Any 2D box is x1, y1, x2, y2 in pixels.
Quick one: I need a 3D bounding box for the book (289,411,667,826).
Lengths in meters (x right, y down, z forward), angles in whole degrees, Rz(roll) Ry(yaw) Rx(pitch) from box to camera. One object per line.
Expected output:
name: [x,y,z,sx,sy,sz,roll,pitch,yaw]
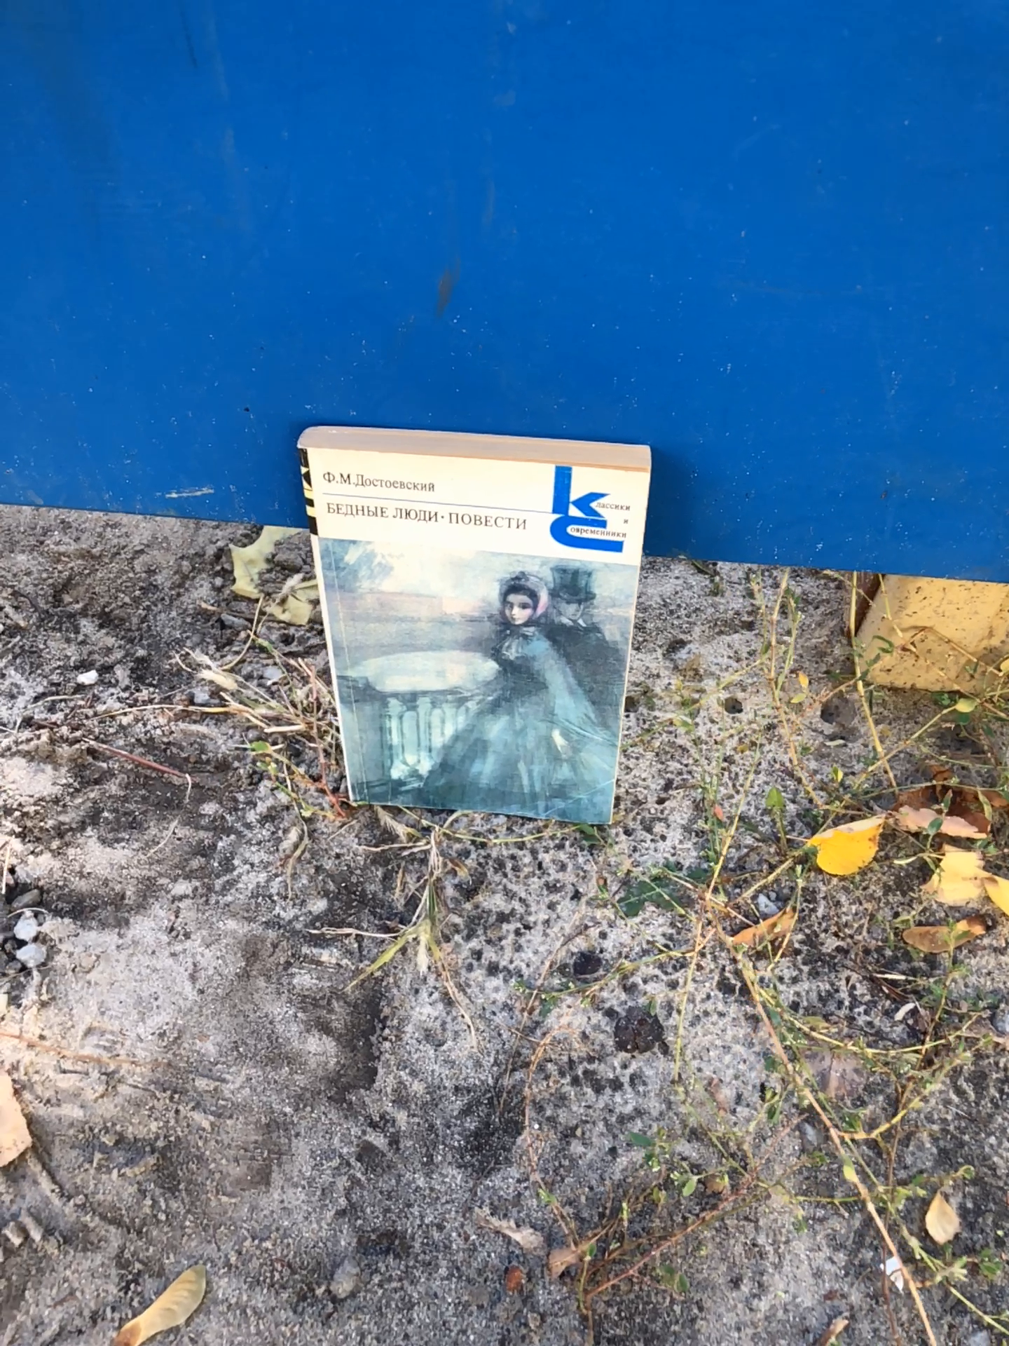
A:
book: [-0.009,-0.012,0.447,0.127,0.187,0.026,5,45,4]
